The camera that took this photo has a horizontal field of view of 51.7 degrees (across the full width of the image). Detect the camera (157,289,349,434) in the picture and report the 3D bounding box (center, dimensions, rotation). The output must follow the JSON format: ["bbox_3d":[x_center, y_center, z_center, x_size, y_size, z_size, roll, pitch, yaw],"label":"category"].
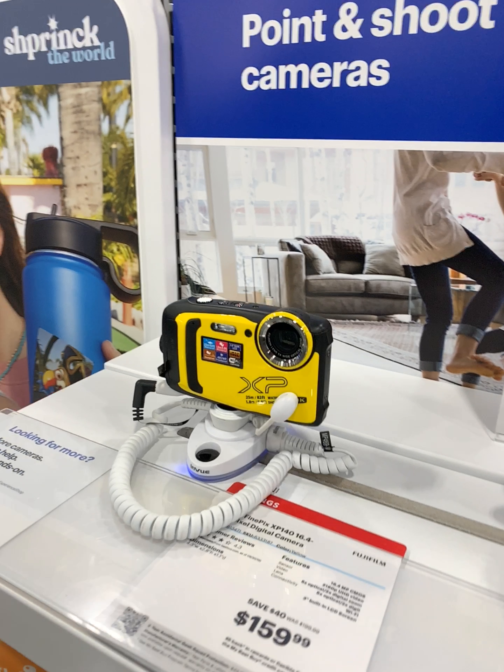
[{"bbox_3d":[-0.002,0.012,0.311,0.110,0.060,0.030,11,21,26],"label":"camera"}]
